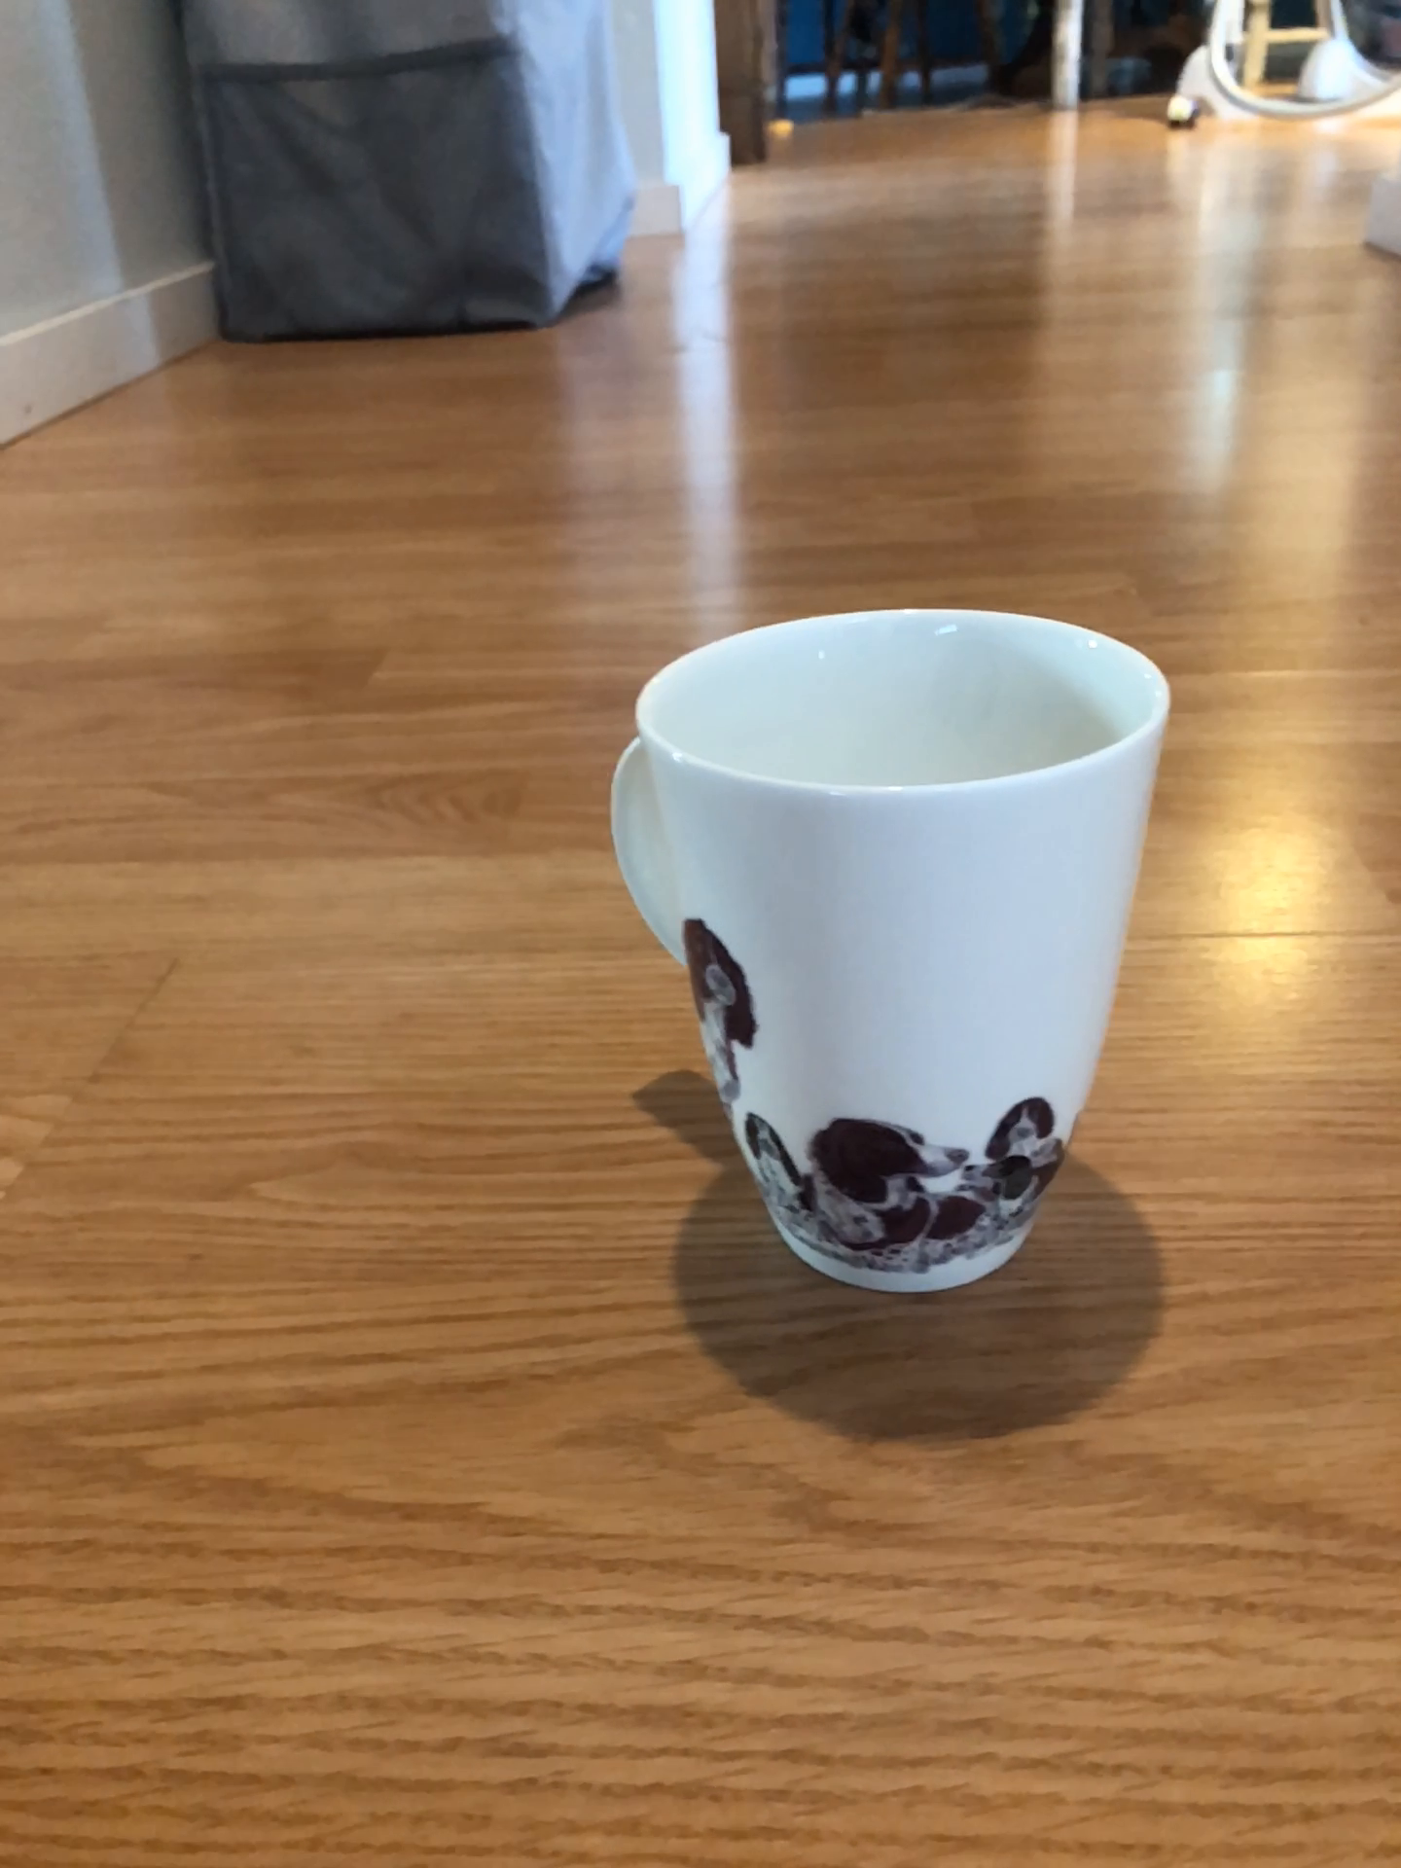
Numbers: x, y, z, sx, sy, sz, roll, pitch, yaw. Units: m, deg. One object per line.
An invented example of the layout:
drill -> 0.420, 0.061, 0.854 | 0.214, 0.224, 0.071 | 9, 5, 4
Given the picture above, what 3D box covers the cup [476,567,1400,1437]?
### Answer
cup -> 0.037, 0.000, 0.277 | 0.090, 0.090, 0.120 | -25, 35, -33
